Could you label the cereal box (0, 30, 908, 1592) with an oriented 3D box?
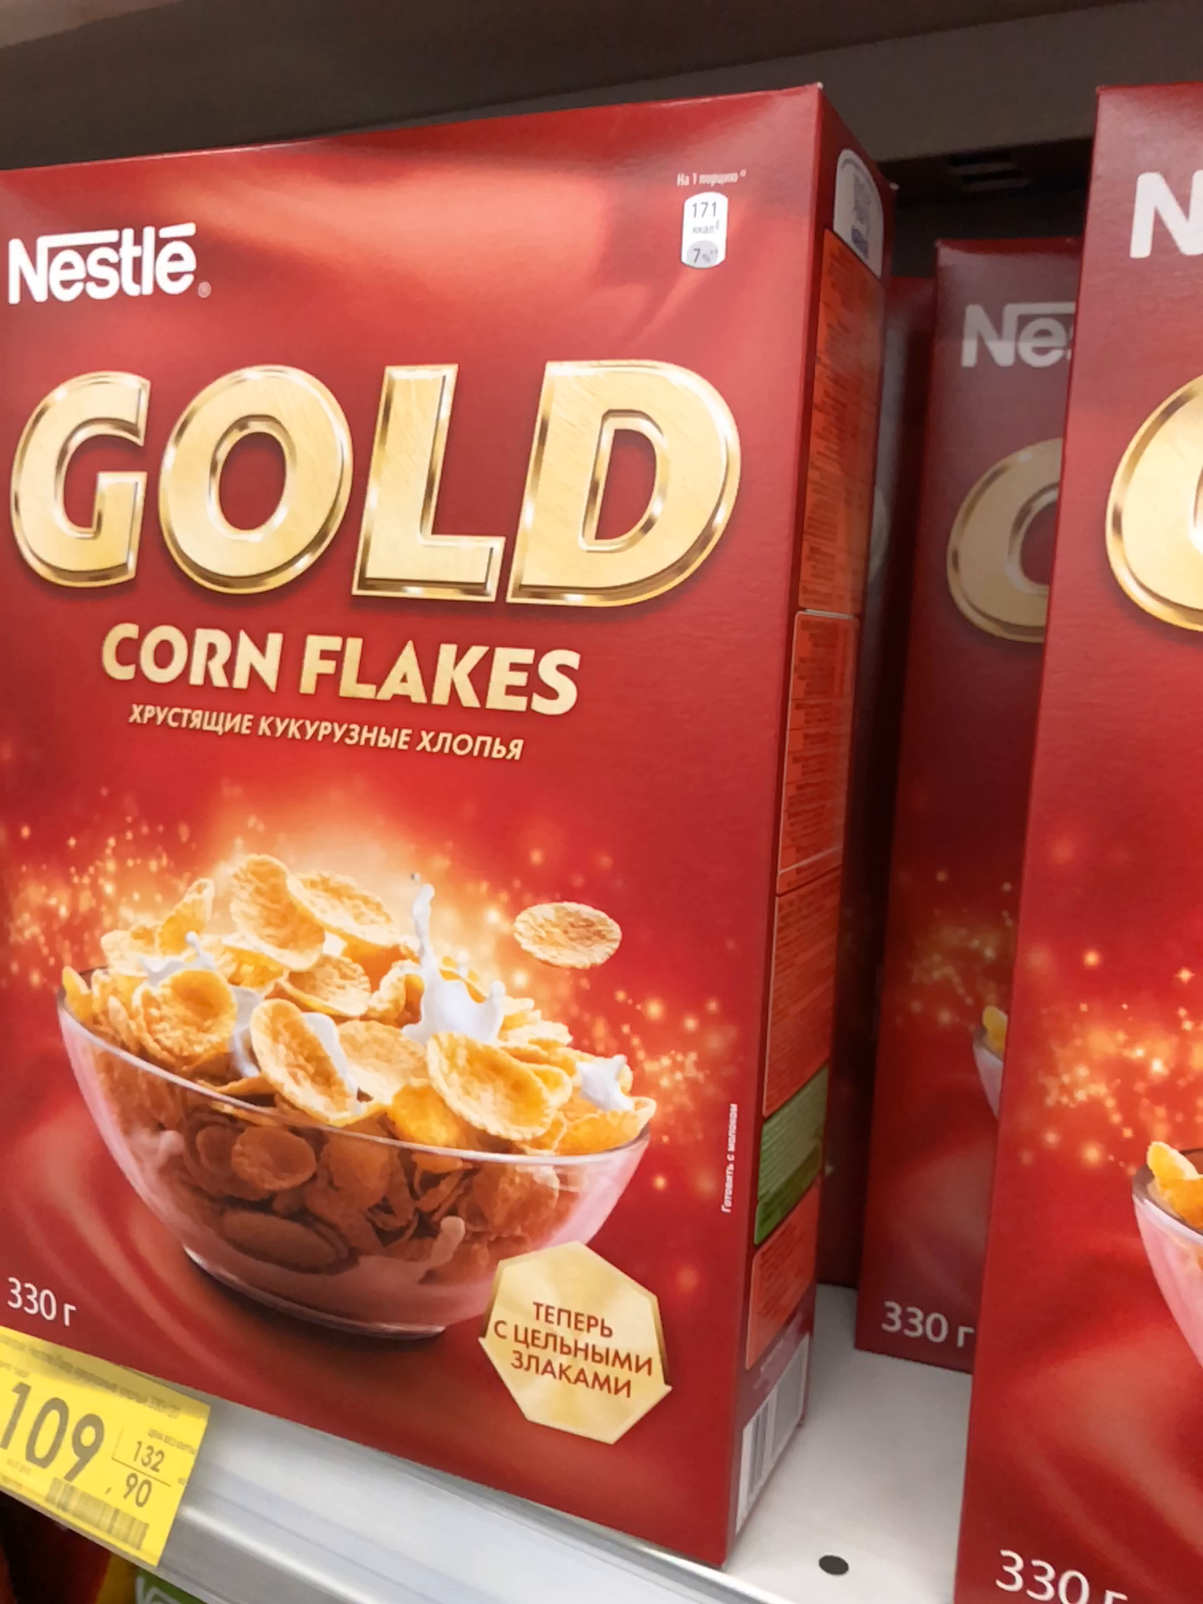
[{"bbox_3d":[-0.047,-0.002,0.304,0.200,0.279,0.060,6,7,23],"label":"cereal box"}]
